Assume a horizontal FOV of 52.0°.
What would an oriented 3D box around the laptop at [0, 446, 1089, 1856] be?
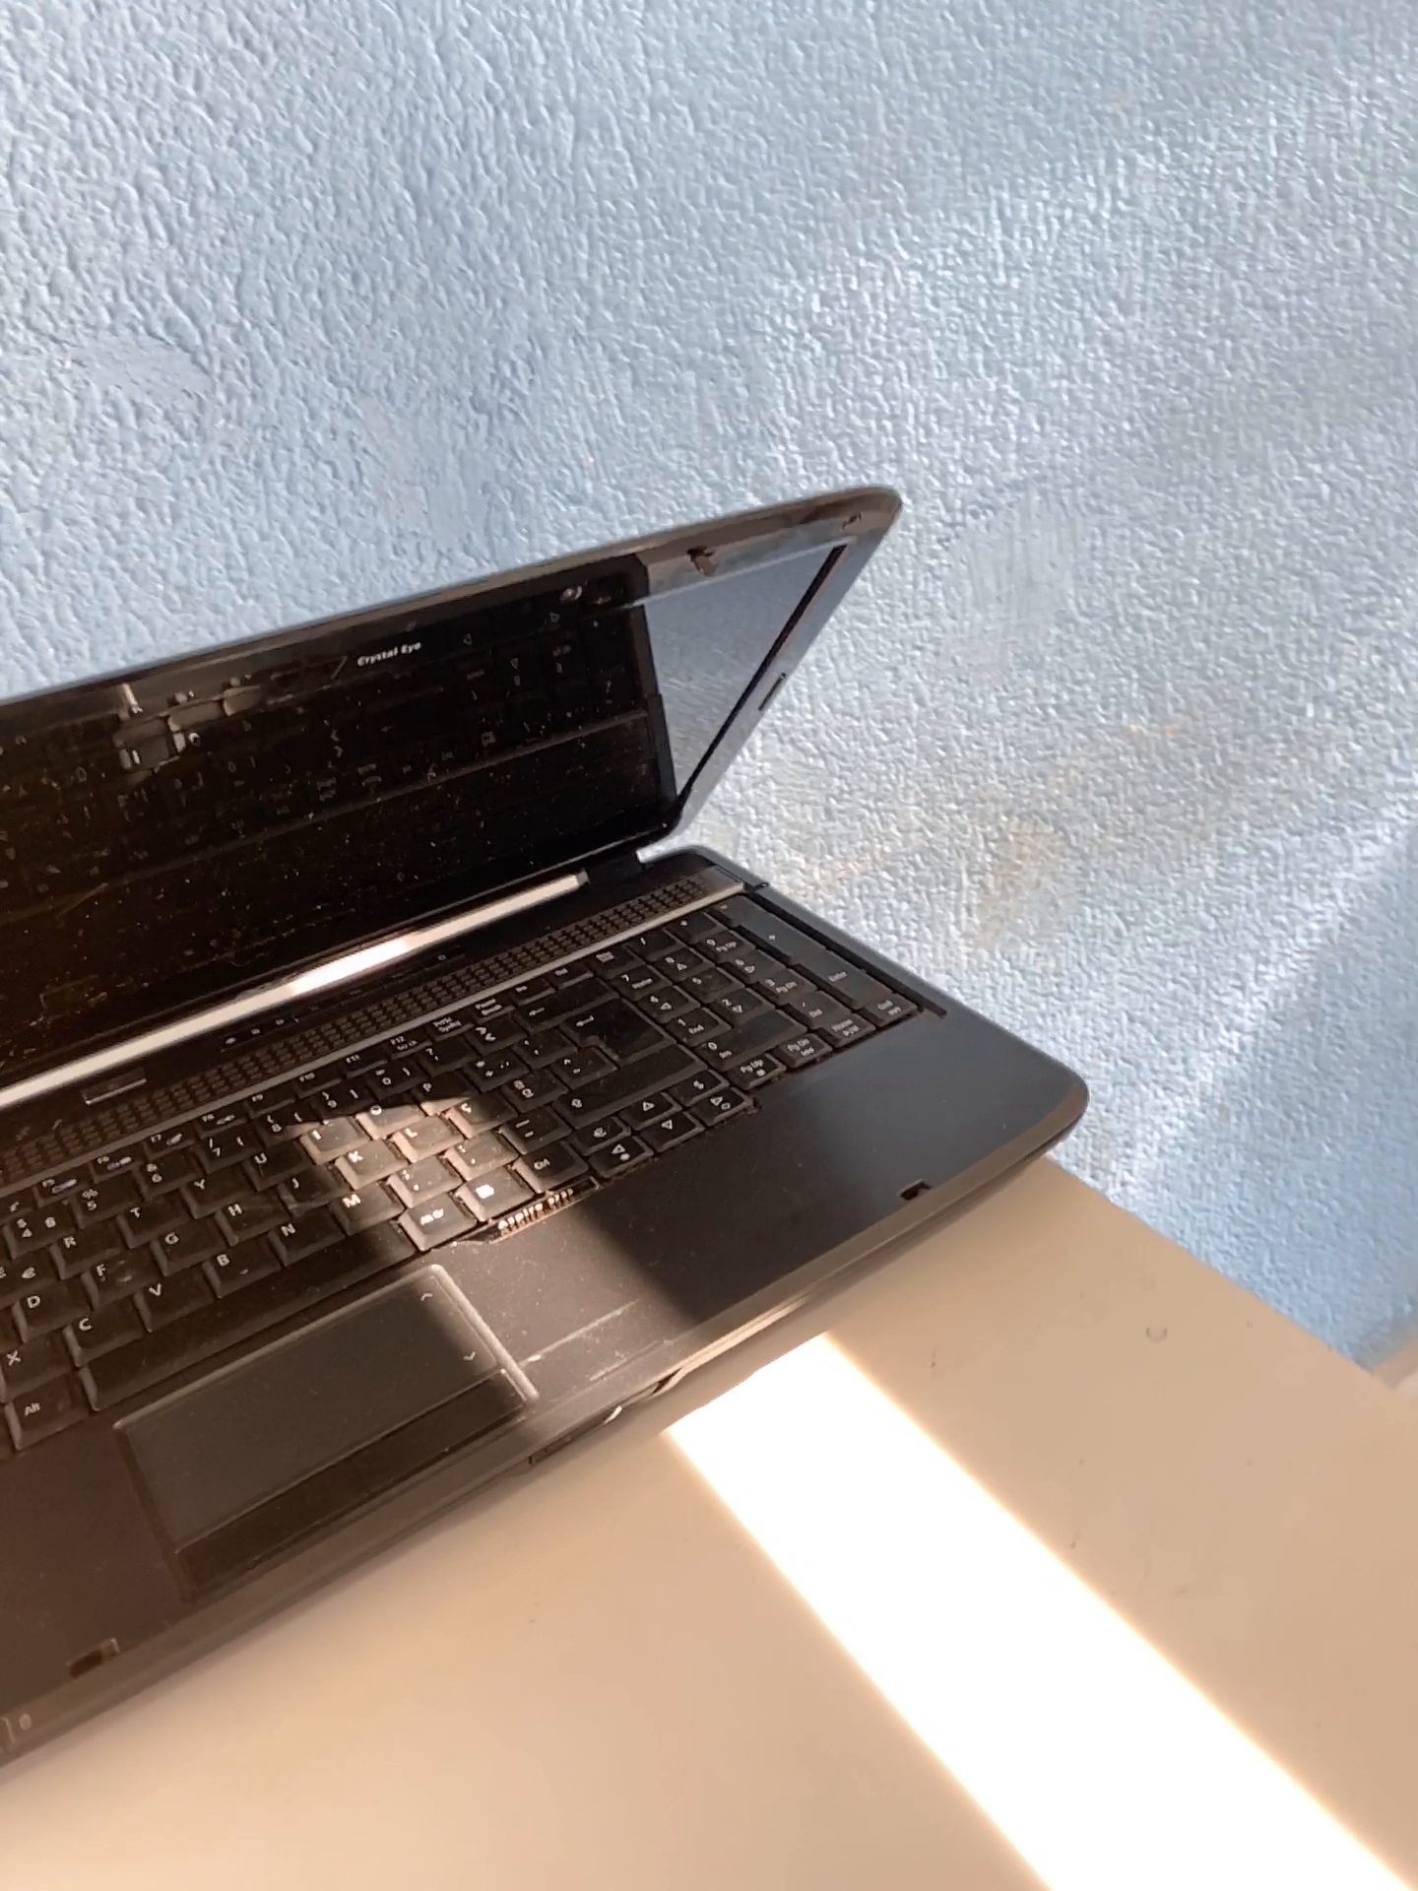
[{"bbox_3d":[-0.109,-0.007,0.421,0.379,0.174,0.236,-23,32,-27],"label":"laptop"}]
